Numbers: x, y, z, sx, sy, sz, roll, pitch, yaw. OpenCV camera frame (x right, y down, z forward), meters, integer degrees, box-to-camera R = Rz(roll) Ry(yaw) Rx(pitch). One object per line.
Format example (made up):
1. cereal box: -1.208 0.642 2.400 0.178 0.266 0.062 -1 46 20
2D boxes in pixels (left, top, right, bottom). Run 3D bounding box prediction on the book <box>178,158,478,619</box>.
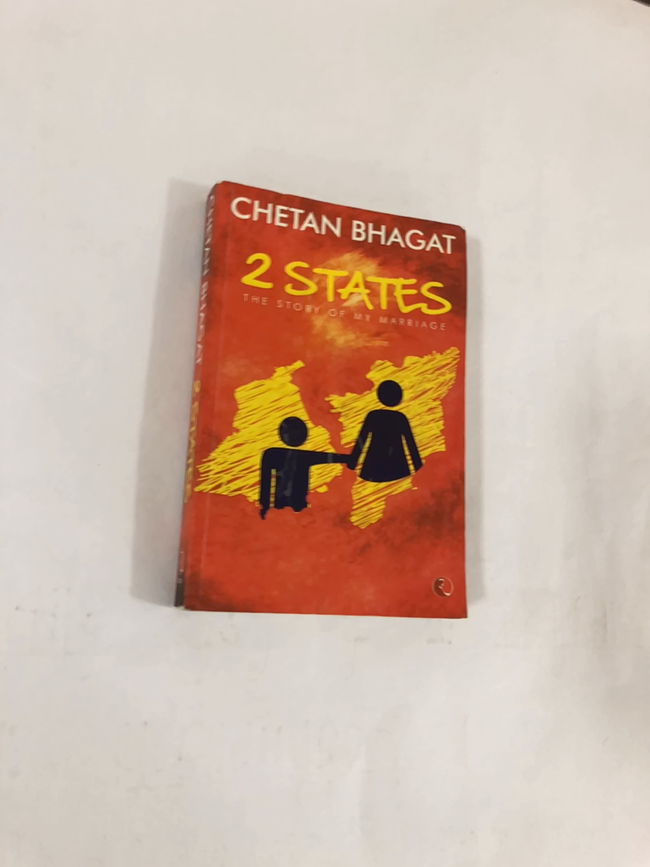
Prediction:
1. book: 0.006 -0.016 0.332 0.123 0.040 0.190 6 77 -17
